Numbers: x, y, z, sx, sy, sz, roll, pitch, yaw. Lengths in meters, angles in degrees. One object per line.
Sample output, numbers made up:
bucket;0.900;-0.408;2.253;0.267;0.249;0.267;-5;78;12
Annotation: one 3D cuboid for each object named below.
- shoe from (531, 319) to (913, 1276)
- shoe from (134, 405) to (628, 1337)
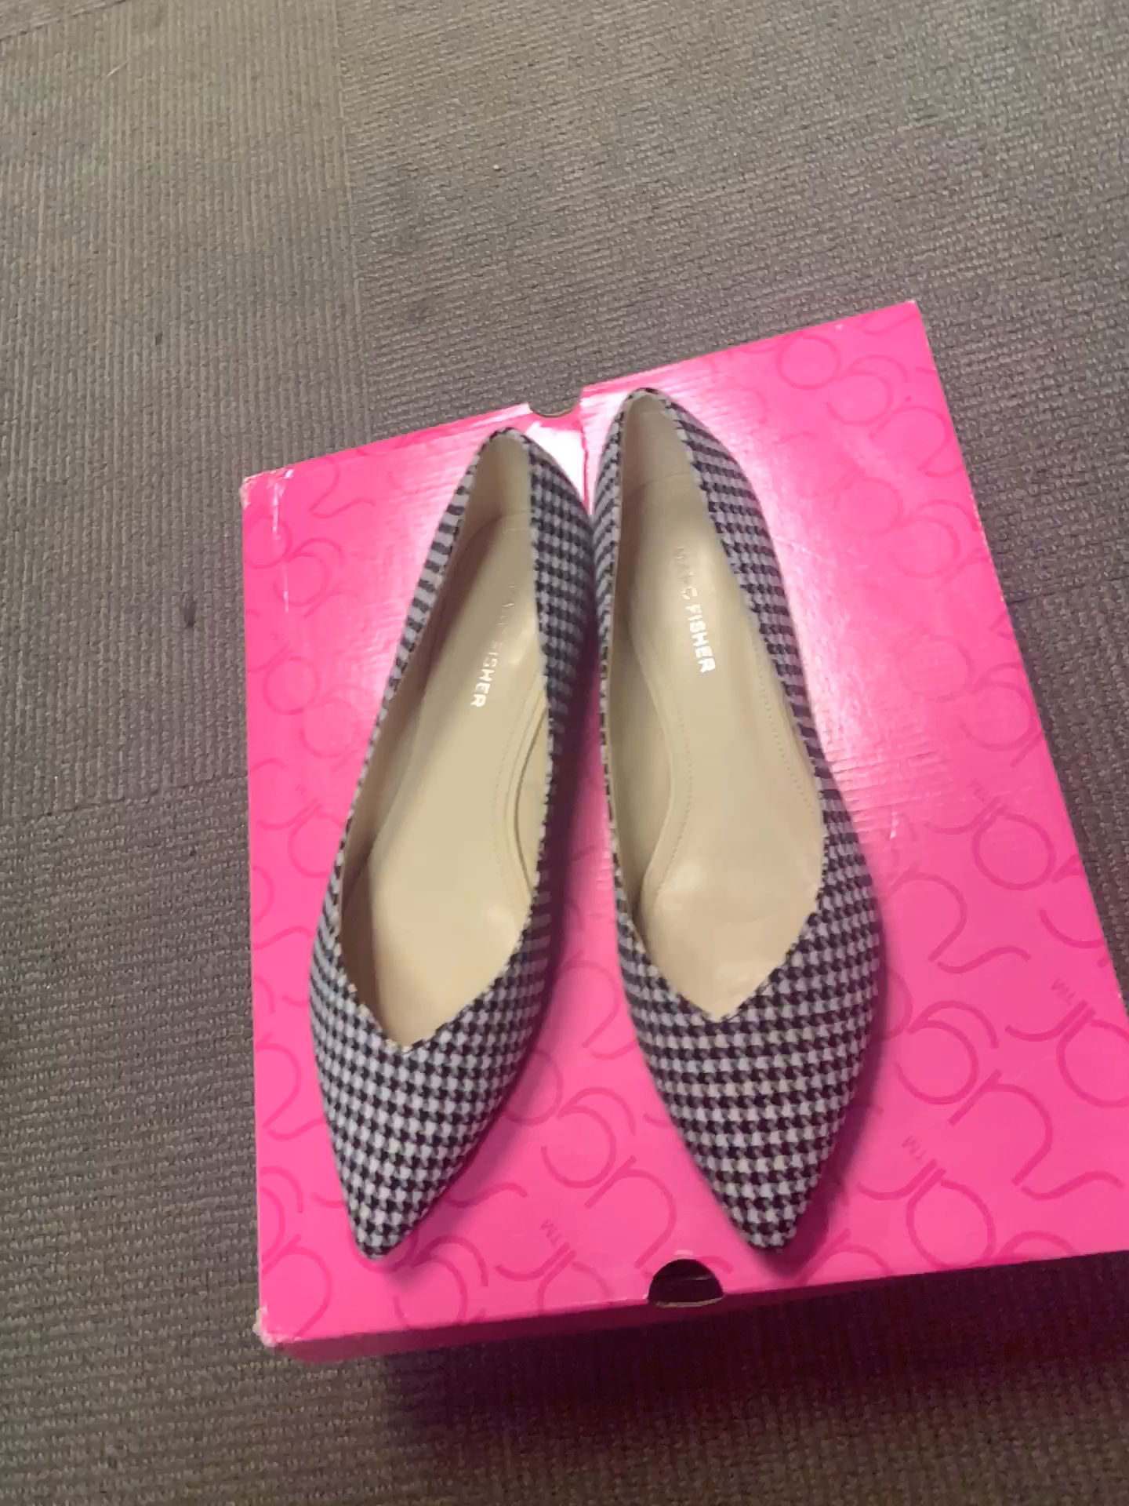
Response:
shoe;0.043;0.006;0.360;0.080;0.060;0.280;-8;69;12
shoe;-0.046;0.024;0.364;0.080;0.060;0.270;6;73;16
